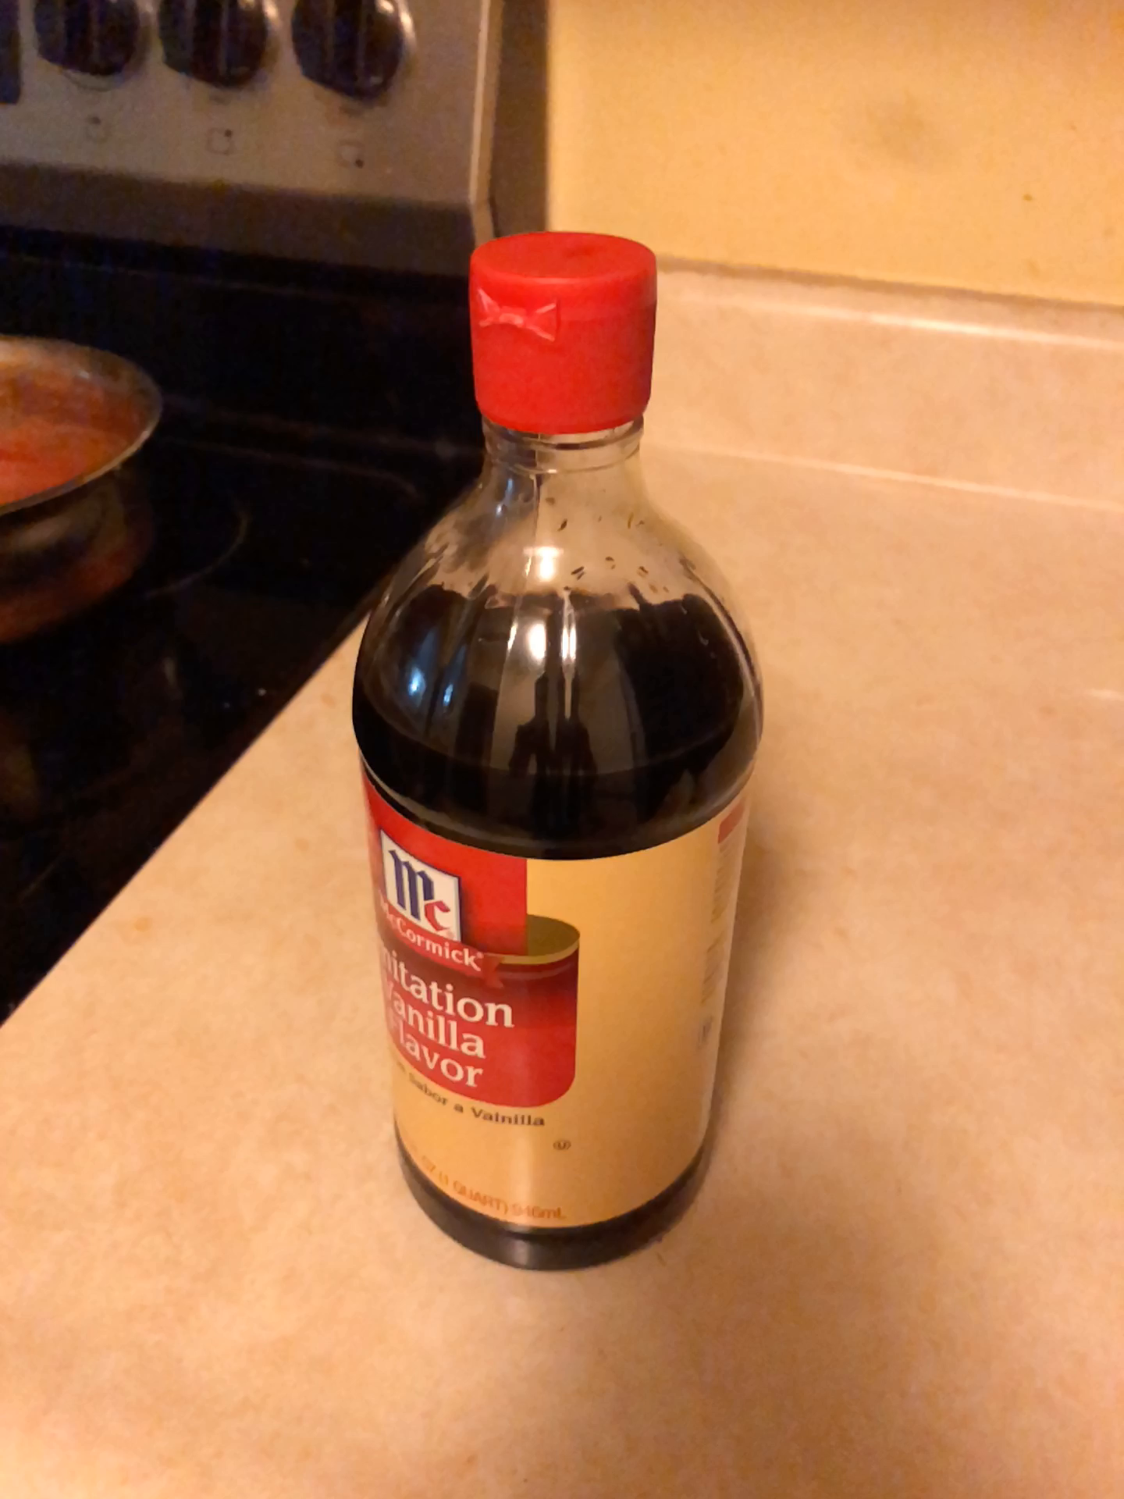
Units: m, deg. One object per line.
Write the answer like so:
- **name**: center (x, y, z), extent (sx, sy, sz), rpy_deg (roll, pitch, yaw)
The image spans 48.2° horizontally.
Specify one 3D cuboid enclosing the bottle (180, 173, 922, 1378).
- **bottle**: center (-0.003, 0.016, 0.274), extent (0.090, 0.239, 0.080), rpy_deg (27, 44, 31)
